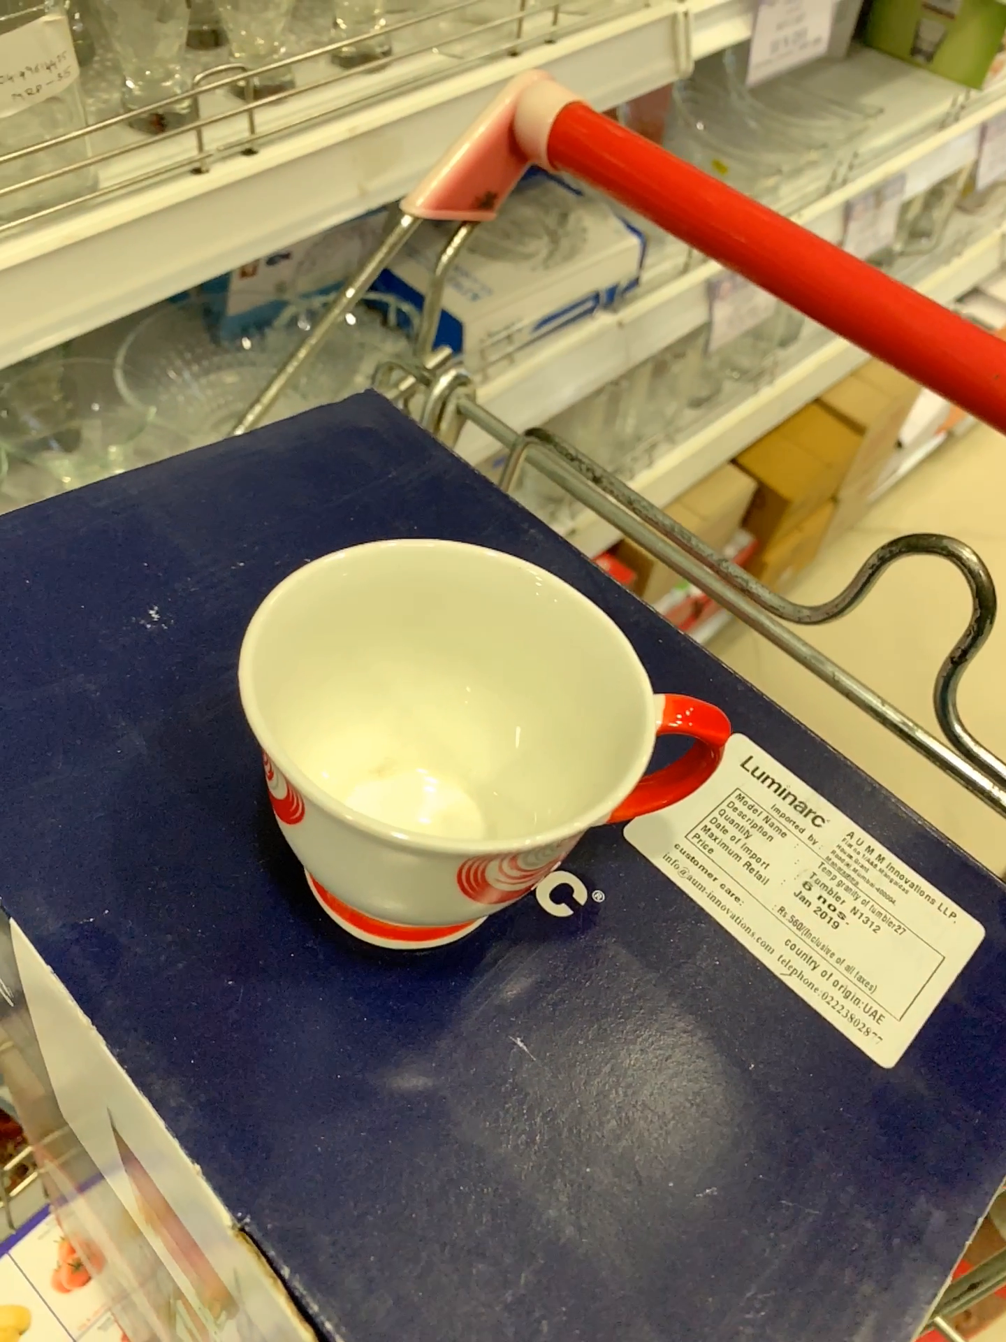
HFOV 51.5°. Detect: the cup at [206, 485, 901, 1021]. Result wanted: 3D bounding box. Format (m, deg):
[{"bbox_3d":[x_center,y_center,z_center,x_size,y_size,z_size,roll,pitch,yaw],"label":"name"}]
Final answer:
[{"bbox_3d":[0.002,0.010,0.189,0.100,0.050,0.070,-5,54,-20],"label":"cup"}]
